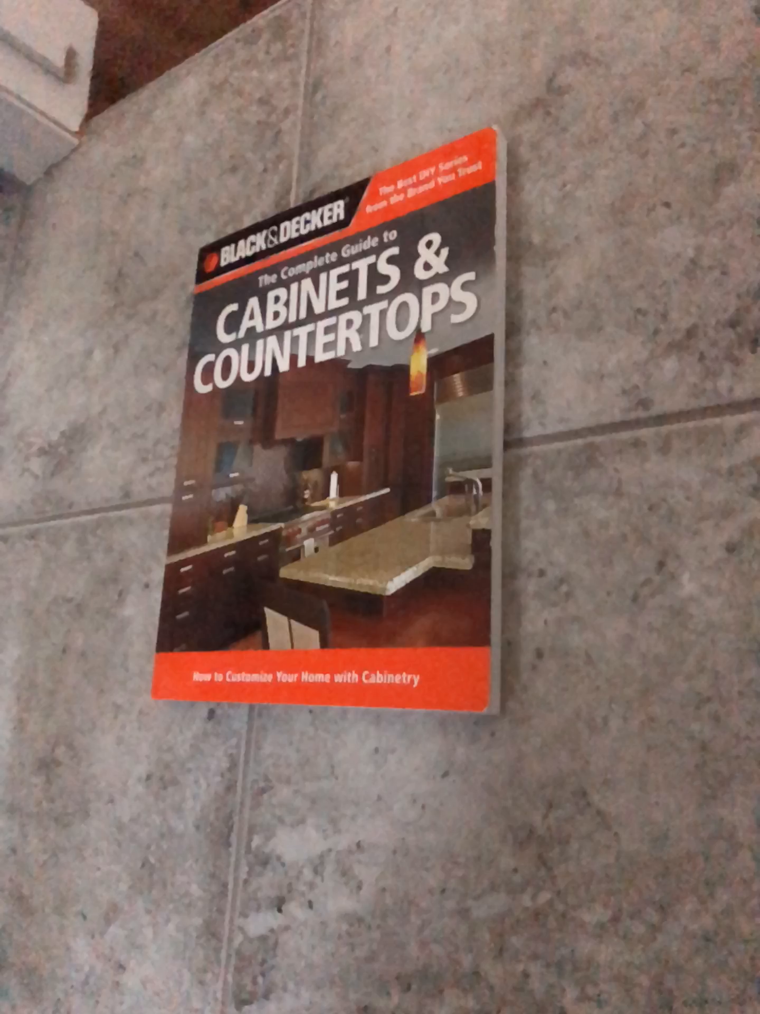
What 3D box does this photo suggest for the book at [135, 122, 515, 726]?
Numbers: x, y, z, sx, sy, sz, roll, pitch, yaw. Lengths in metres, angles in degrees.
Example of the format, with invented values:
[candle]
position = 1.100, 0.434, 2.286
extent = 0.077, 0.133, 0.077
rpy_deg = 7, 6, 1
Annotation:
[book]
position = -0.033, -0.035, 0.444
extent = 0.216, 0.022, 0.281
rpy_deg = -7, 72, 36
